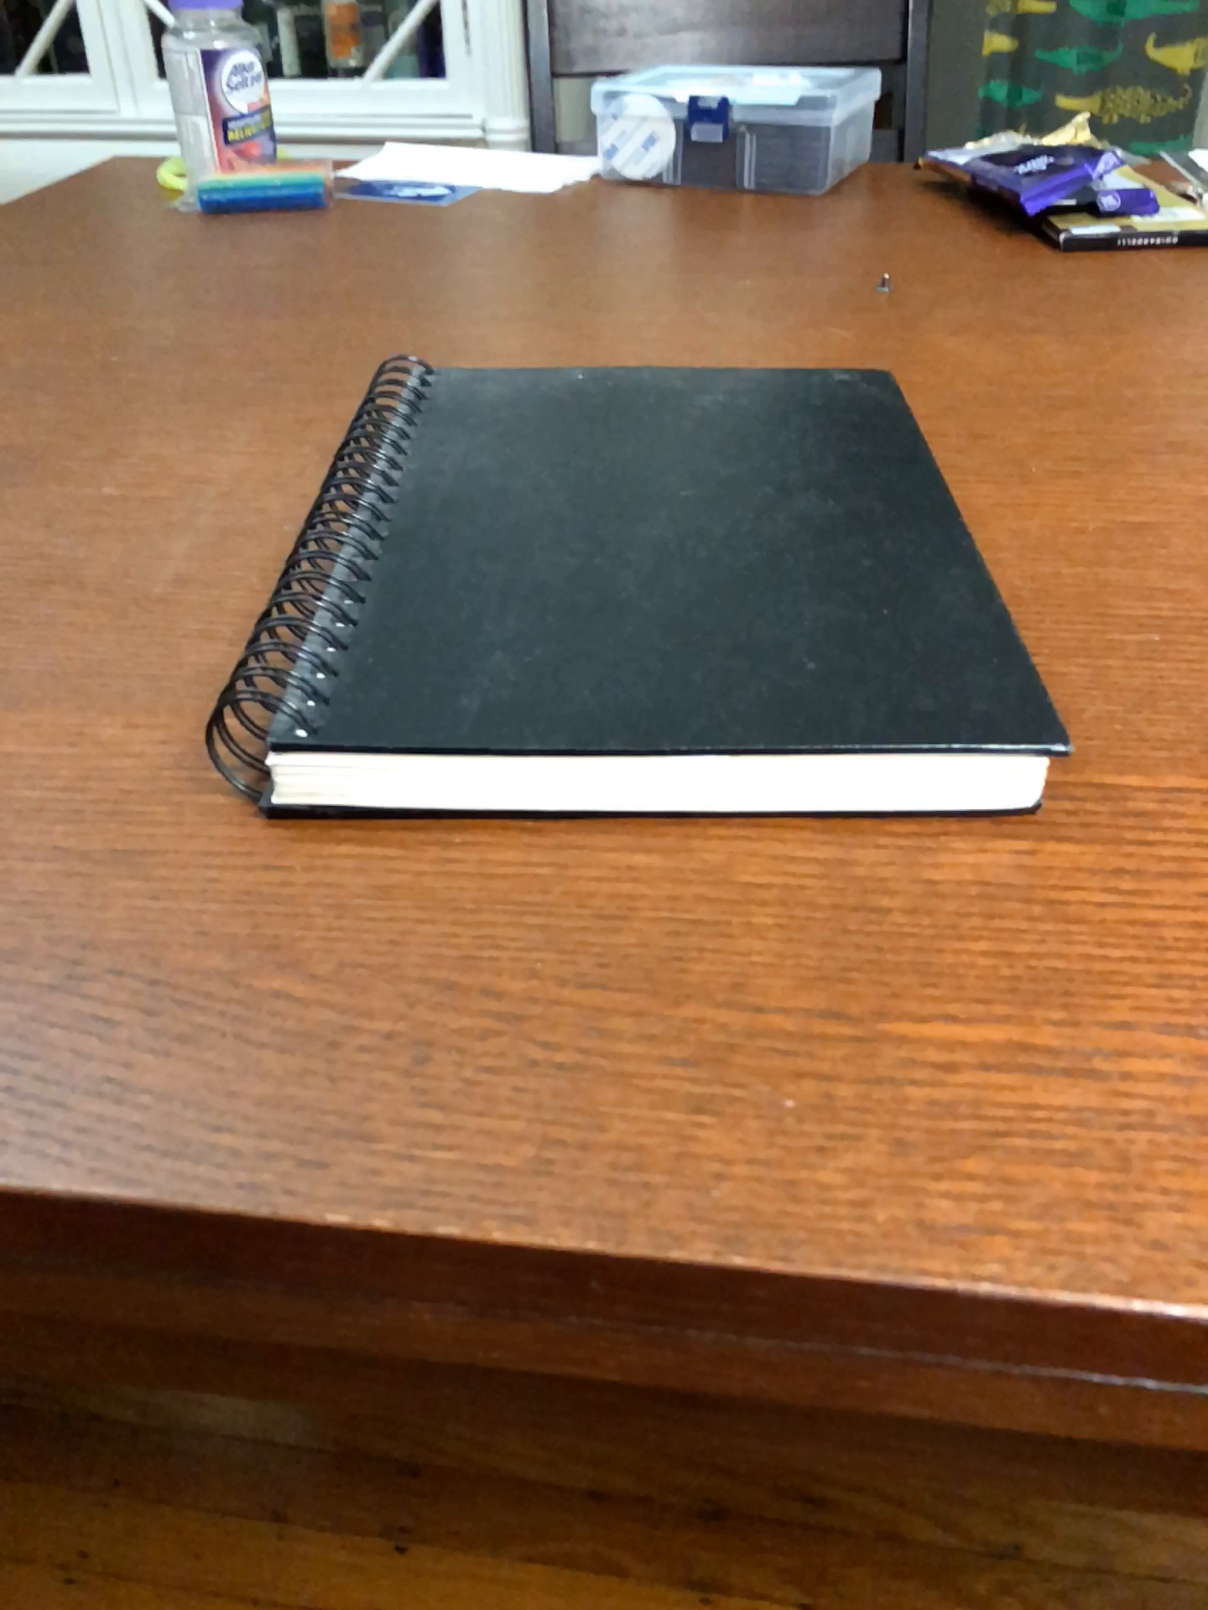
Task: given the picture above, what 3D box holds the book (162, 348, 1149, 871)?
[{"bbox_3d":[0.011,-0.075,0.385,0.200,0.030,0.262,-1,36,1],"label":"book"}]
